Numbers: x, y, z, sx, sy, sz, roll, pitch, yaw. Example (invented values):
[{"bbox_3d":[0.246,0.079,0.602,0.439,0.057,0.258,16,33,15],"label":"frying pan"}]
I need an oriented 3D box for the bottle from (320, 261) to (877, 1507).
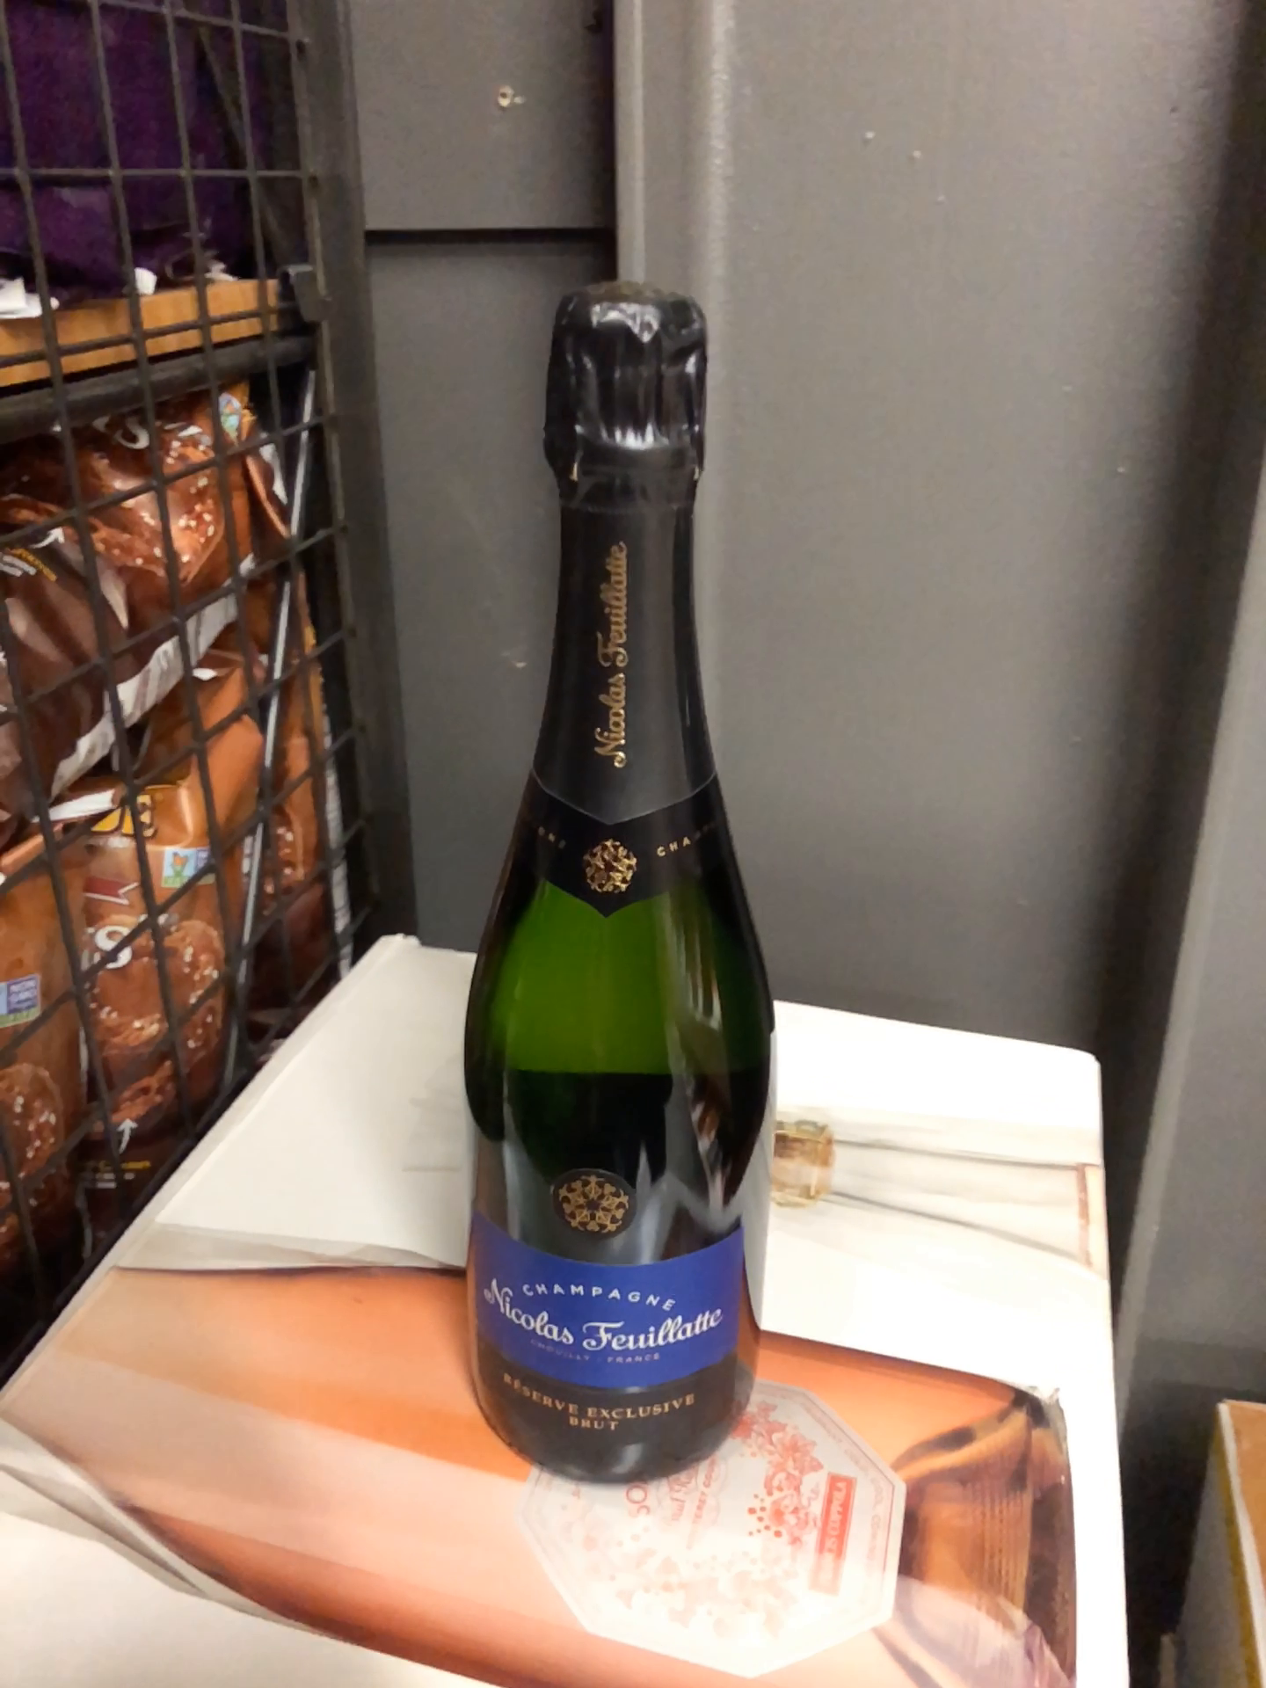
[{"bbox_3d":[-0.004,0.017,0.352,0.100,0.299,0.090,3,25,5],"label":"bottle"}]
